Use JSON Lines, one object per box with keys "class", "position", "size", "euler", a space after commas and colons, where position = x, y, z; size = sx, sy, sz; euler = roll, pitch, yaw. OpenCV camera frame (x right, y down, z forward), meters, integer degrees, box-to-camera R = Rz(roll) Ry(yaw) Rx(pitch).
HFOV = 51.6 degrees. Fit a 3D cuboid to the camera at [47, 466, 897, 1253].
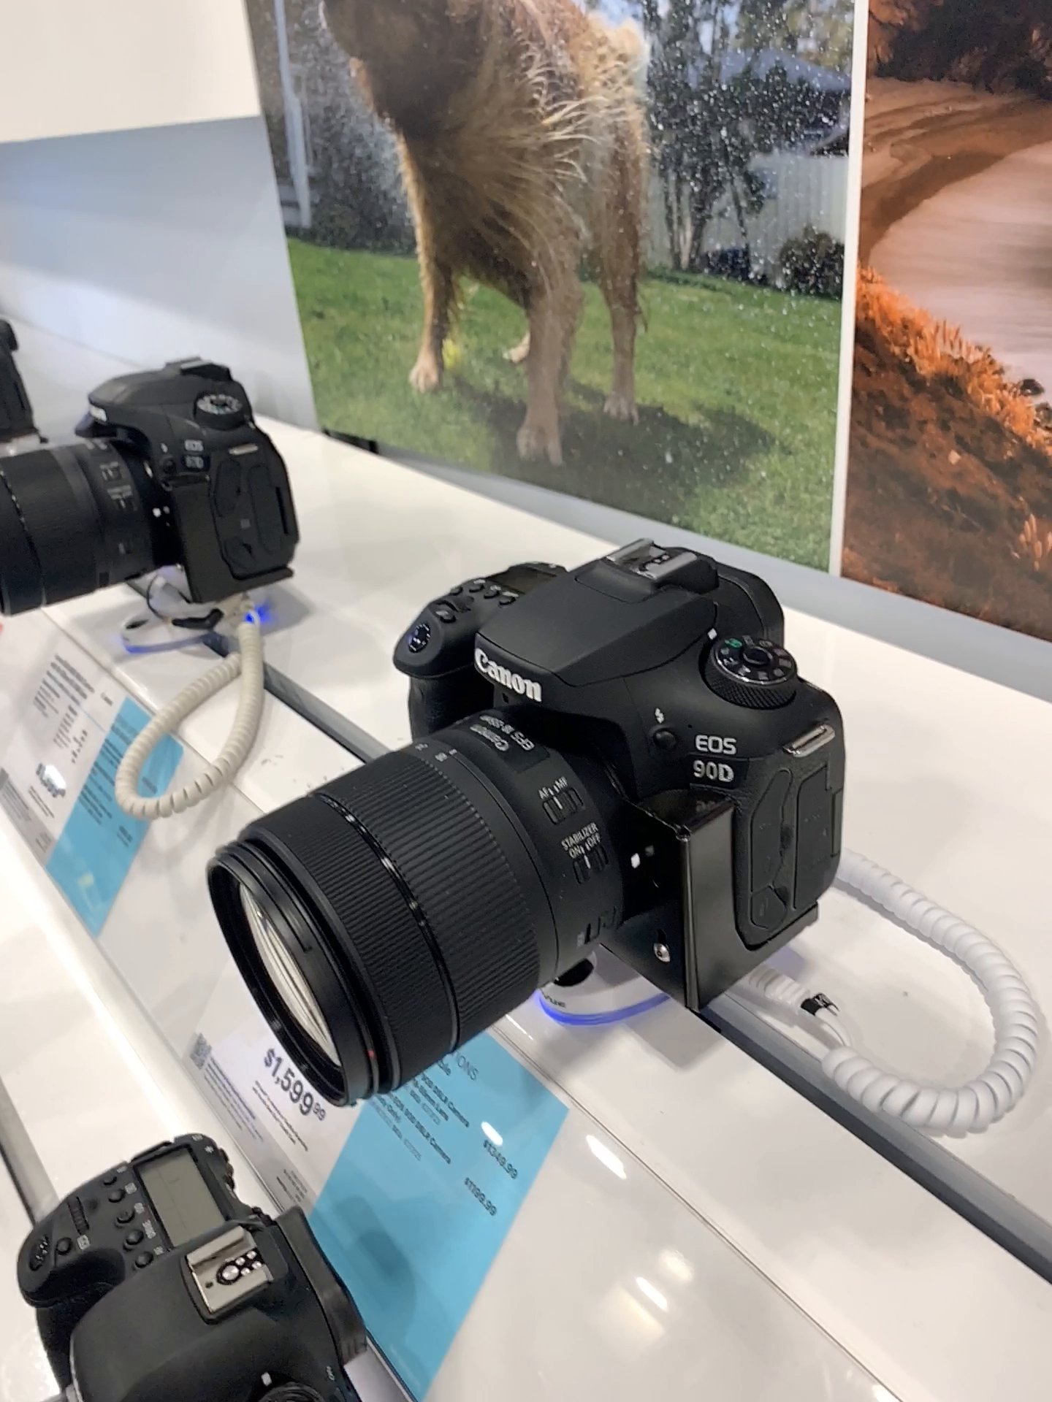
{"class": "camera", "position": [-0.013, 0.020, 0.311], "size": [0.170, 0.104, 0.149], "euler": [-25, 35, -30]}
